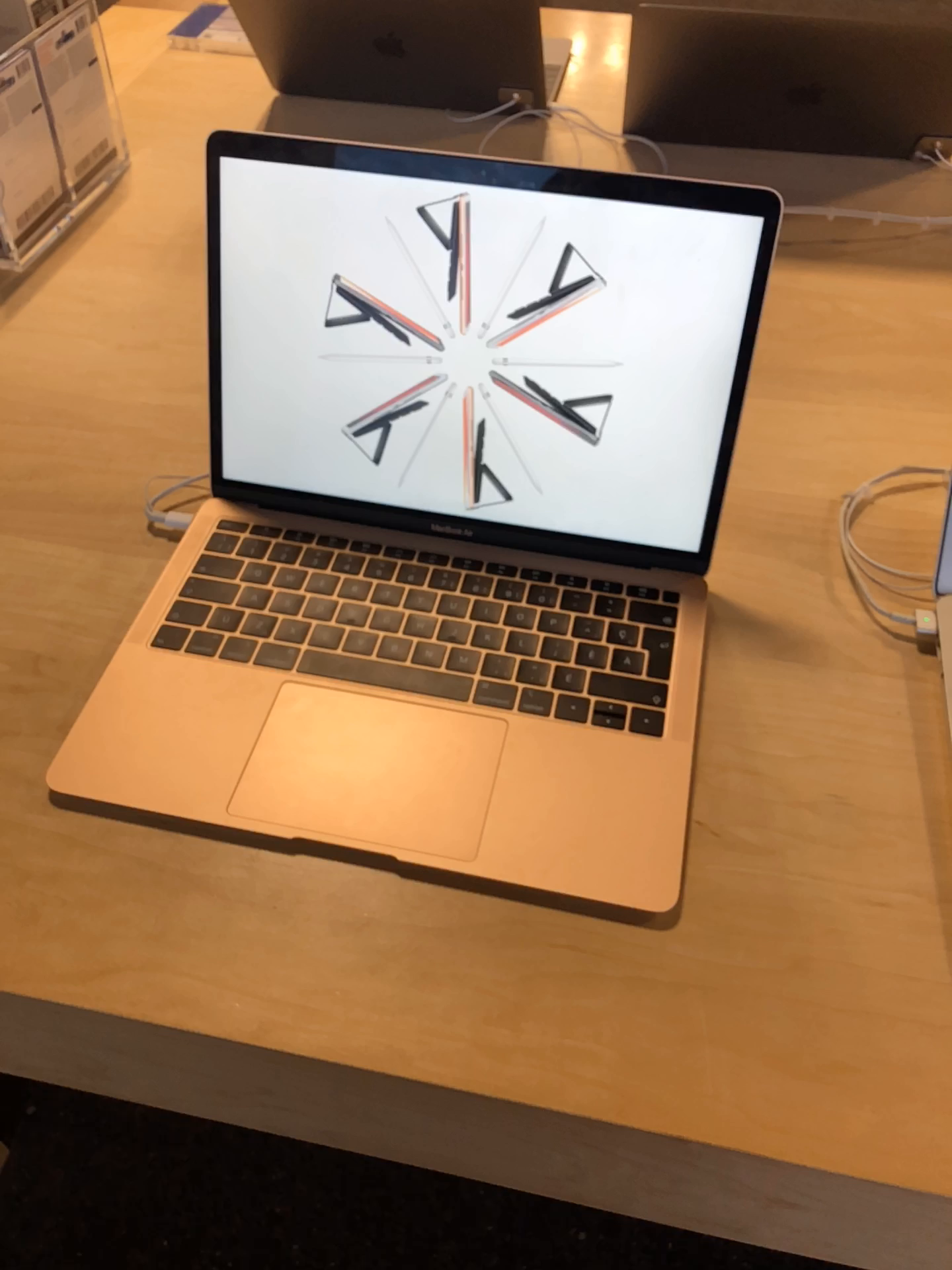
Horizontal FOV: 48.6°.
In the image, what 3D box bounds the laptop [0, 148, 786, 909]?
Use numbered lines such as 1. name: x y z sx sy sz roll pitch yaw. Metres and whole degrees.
1. laptop: -0.025 -0.069 0.505 0.291 0.183 0.284 10 48 9
